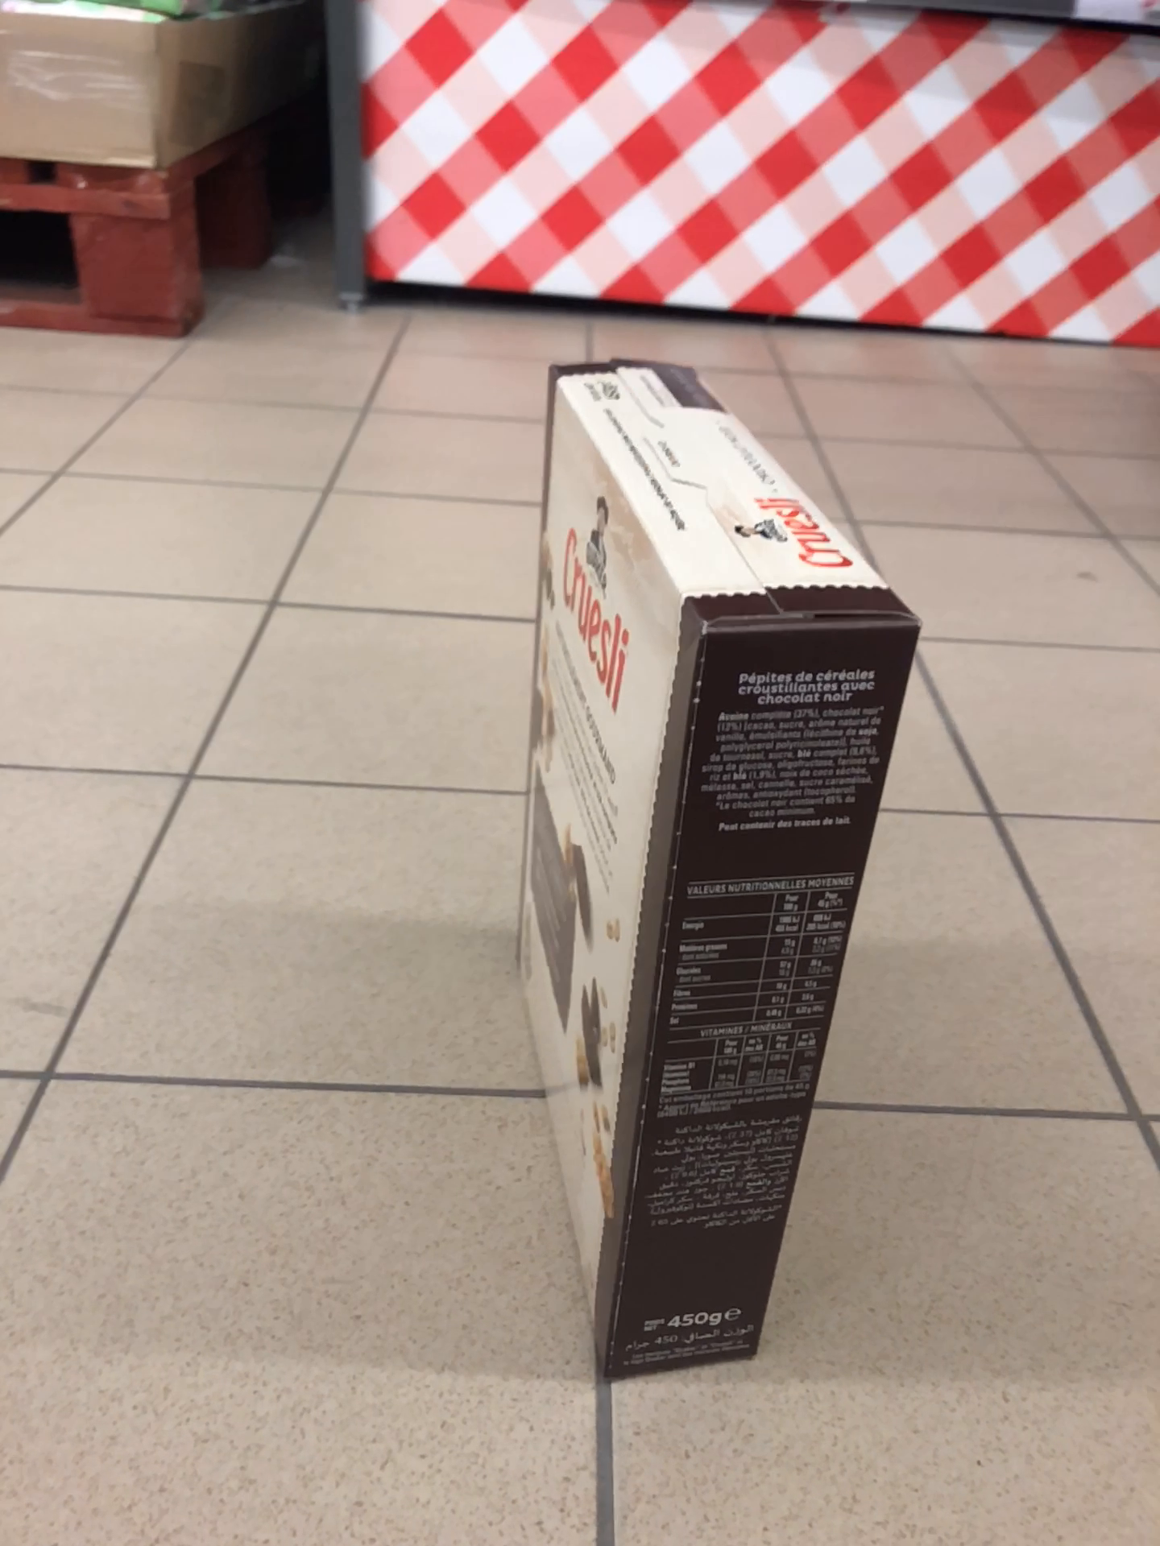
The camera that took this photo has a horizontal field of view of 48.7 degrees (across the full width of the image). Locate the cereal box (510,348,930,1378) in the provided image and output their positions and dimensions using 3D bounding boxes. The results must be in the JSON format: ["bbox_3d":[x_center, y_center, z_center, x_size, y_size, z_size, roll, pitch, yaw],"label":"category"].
[{"bbox_3d":[0.020,0.018,0.394,0.050,0.239,0.201,-2,32,-10],"label":"cereal box"}]
